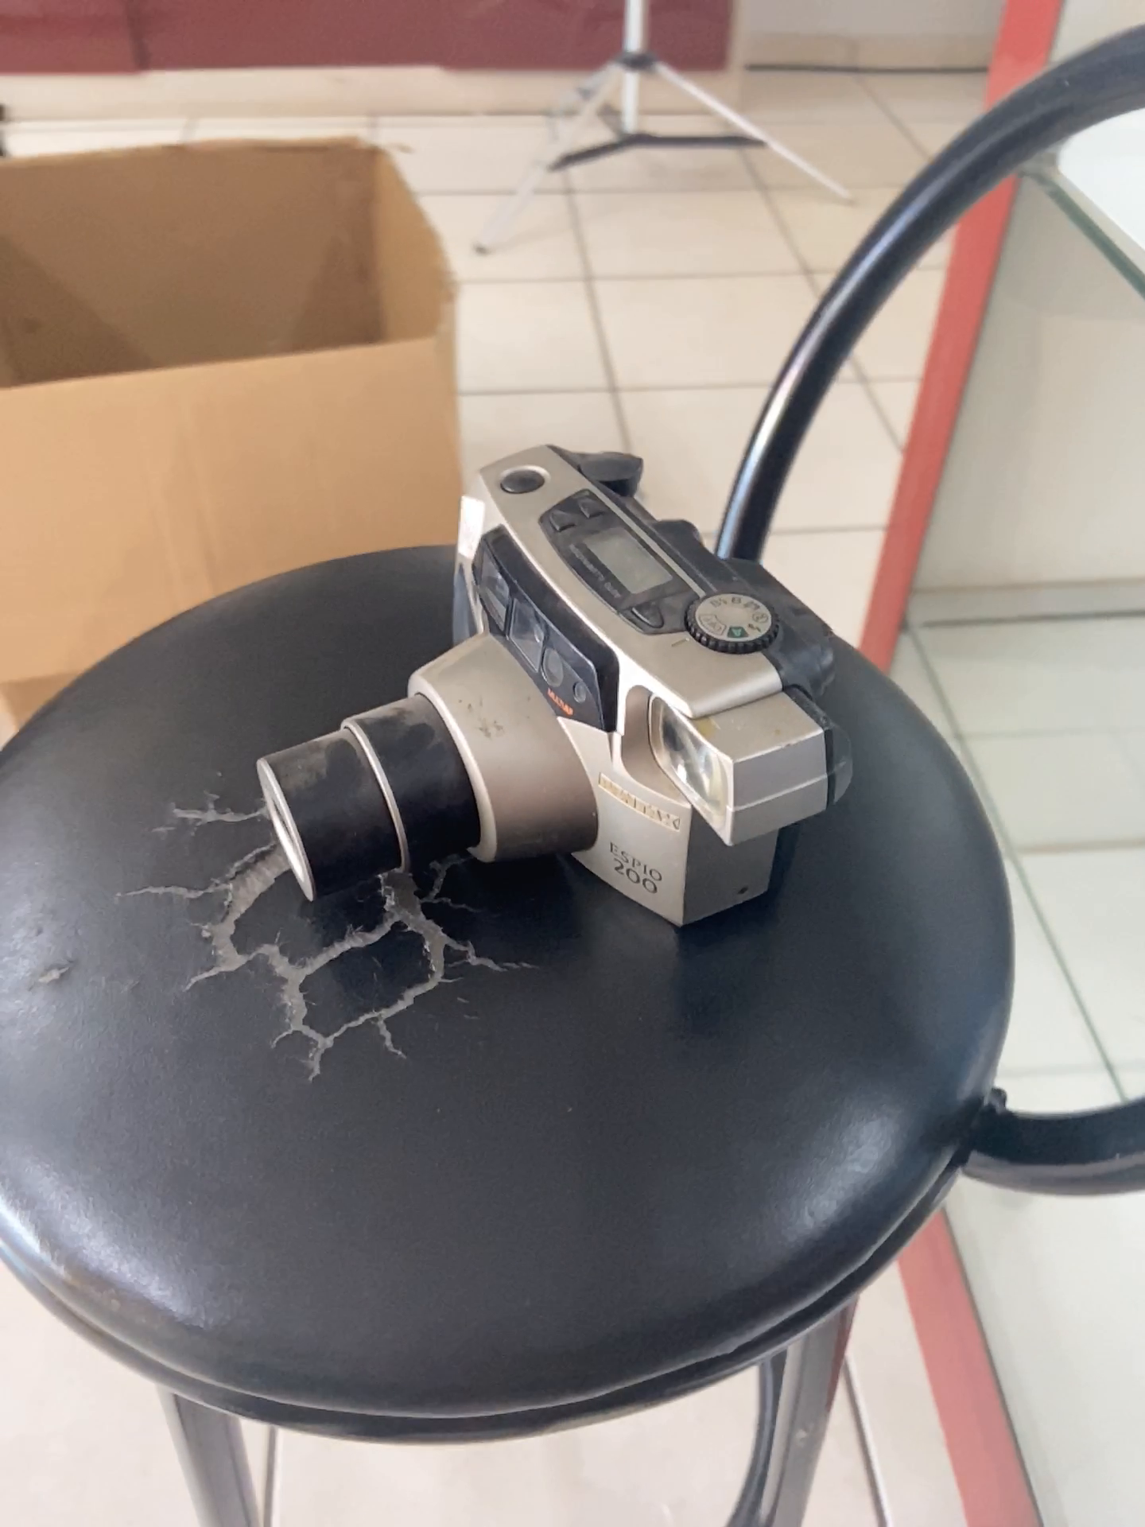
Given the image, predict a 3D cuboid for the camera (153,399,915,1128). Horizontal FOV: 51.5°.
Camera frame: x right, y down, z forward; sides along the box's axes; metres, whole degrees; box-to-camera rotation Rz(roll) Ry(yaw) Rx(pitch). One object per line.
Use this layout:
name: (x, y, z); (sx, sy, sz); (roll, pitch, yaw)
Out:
camera: (-0.014, -0.011, 0.292); (0.120, 0.080, 0.130); (-23, 49, -22)
